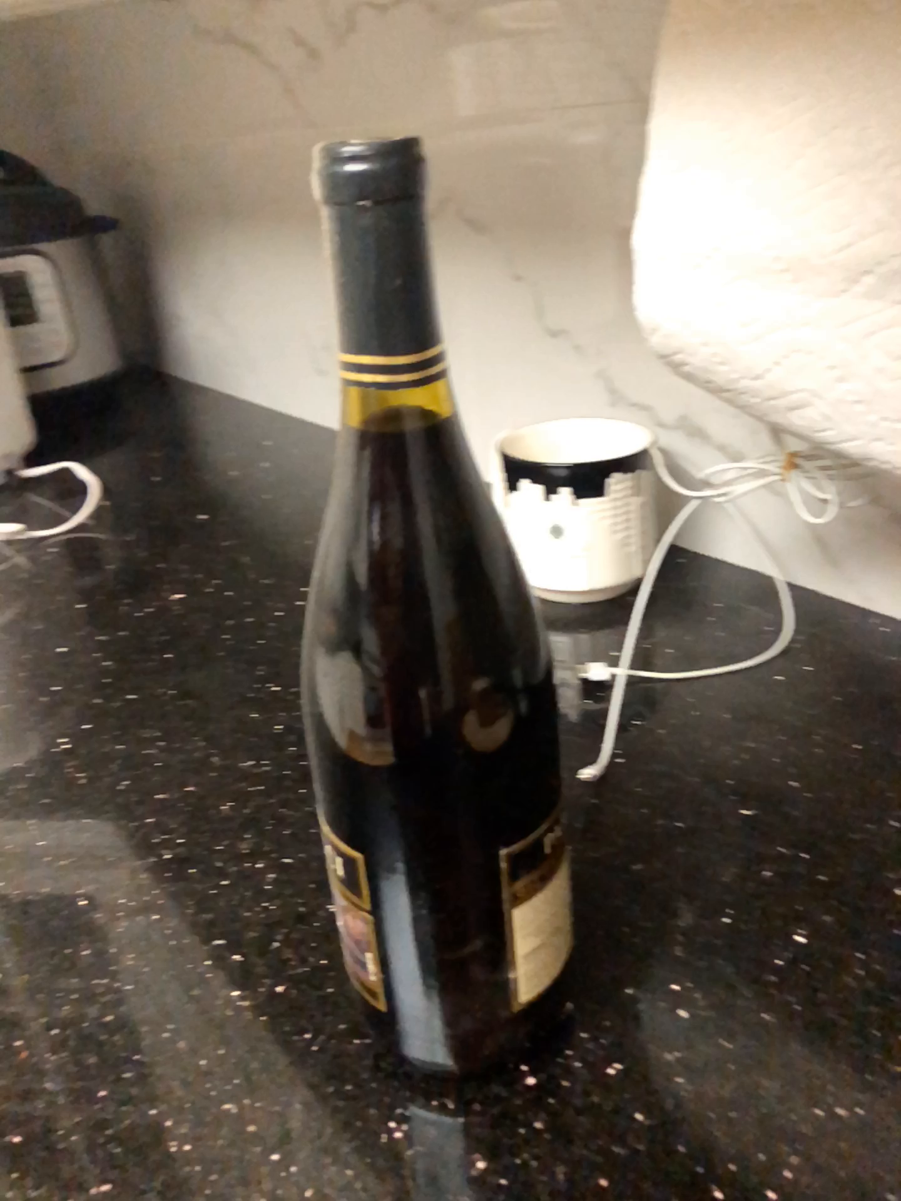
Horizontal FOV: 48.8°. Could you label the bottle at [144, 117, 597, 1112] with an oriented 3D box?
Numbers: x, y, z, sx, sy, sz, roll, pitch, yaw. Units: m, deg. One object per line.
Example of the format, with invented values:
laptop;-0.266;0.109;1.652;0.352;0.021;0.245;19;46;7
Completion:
bottle;-0.005;0.017;0.313;0.090;0.298;0.090;-5;25;2
